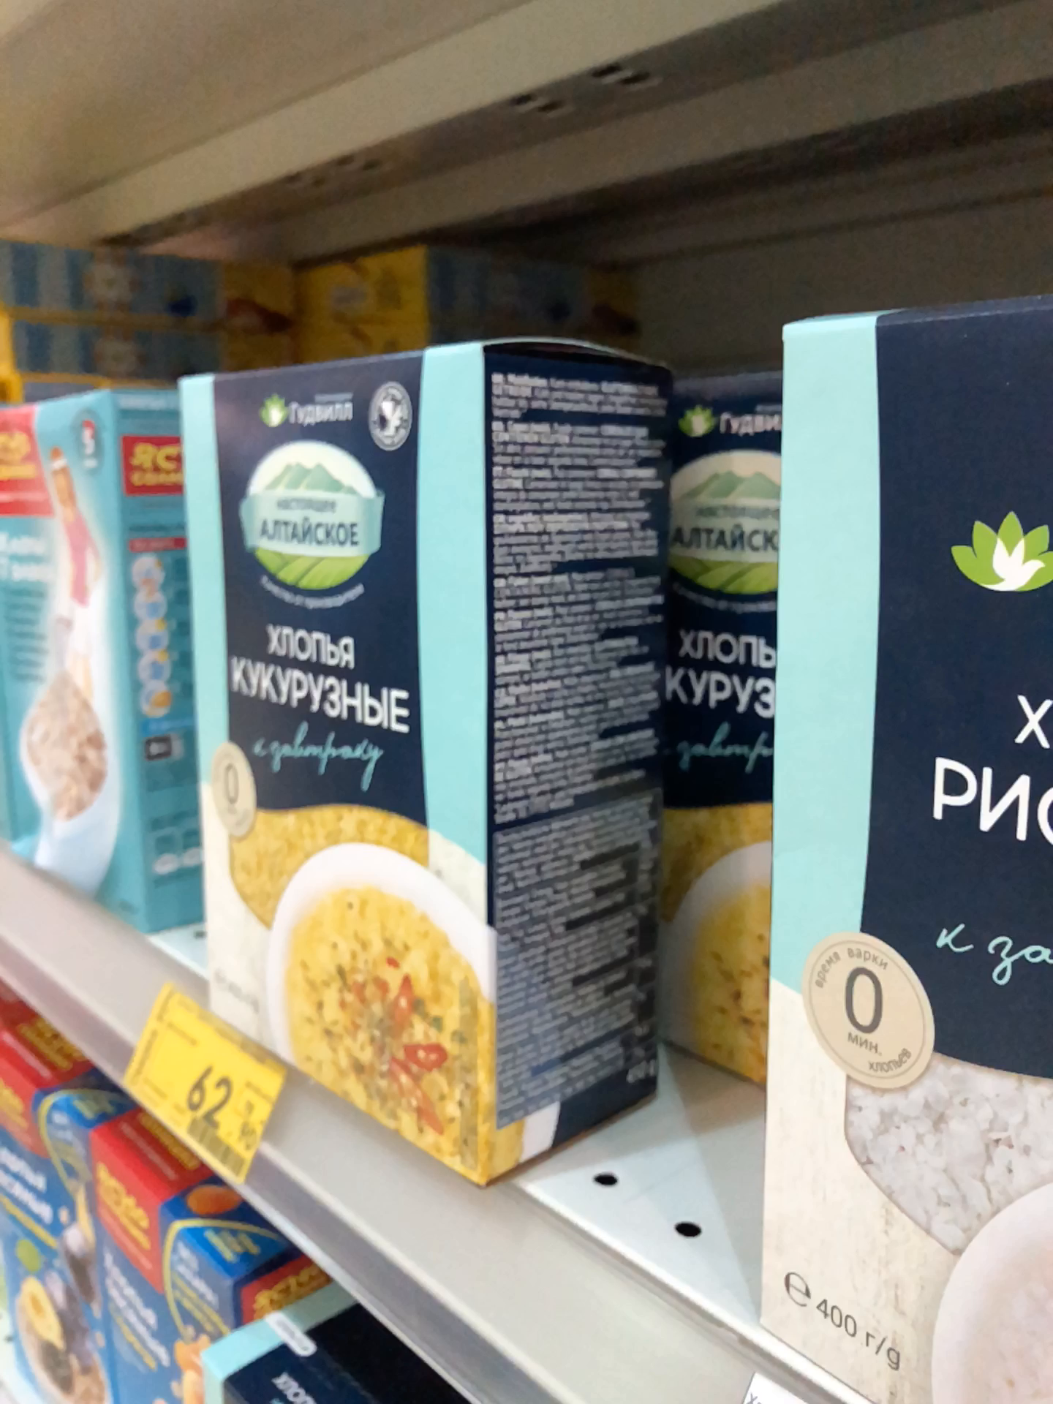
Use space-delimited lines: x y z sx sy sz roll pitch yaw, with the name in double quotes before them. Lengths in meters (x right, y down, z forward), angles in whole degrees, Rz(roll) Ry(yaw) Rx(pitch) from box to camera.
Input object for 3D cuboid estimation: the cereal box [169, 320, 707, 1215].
"cereal box" -0.029 0.007 0.314 0.060 0.189 0.140 -9 13 -44
